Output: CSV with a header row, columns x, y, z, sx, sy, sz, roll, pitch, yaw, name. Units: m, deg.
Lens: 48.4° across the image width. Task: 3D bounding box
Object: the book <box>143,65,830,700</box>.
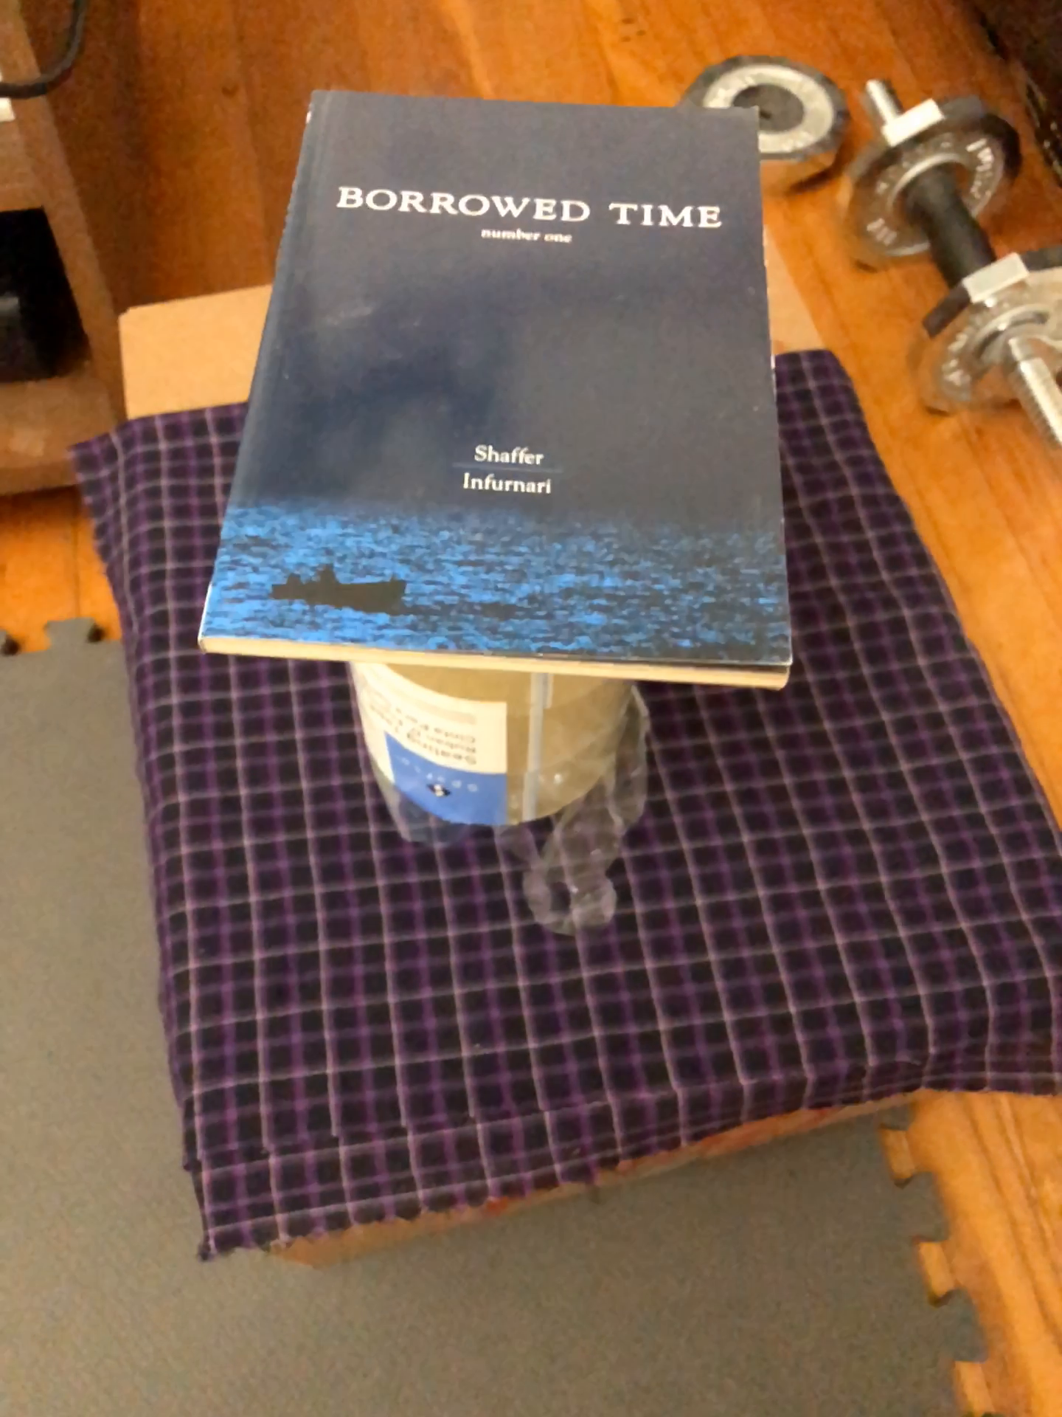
x,y,z,sx,sy,sz,roll,pitch,yaw,name
-0.005,-0.108,0.338,0.160,0.010,0.231,3,59,0,book
